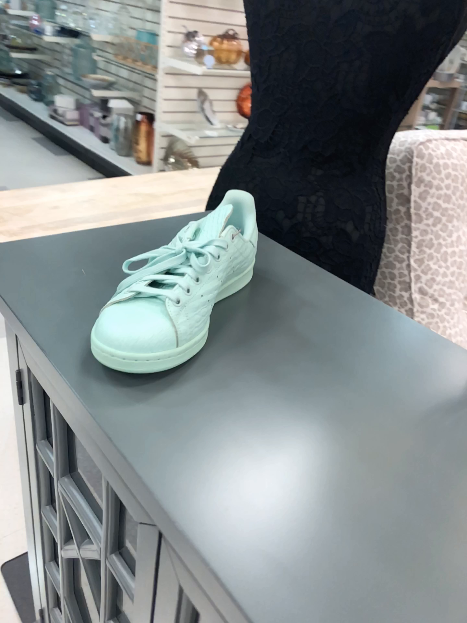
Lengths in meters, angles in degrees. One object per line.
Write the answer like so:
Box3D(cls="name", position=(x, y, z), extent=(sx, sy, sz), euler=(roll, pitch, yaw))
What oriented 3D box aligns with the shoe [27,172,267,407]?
Box3D(cls="shoe", position=(-0.065, -0.042, 0.501), extent=(0.106, 0.112, 0.253), euler=(17, 31, 15))
